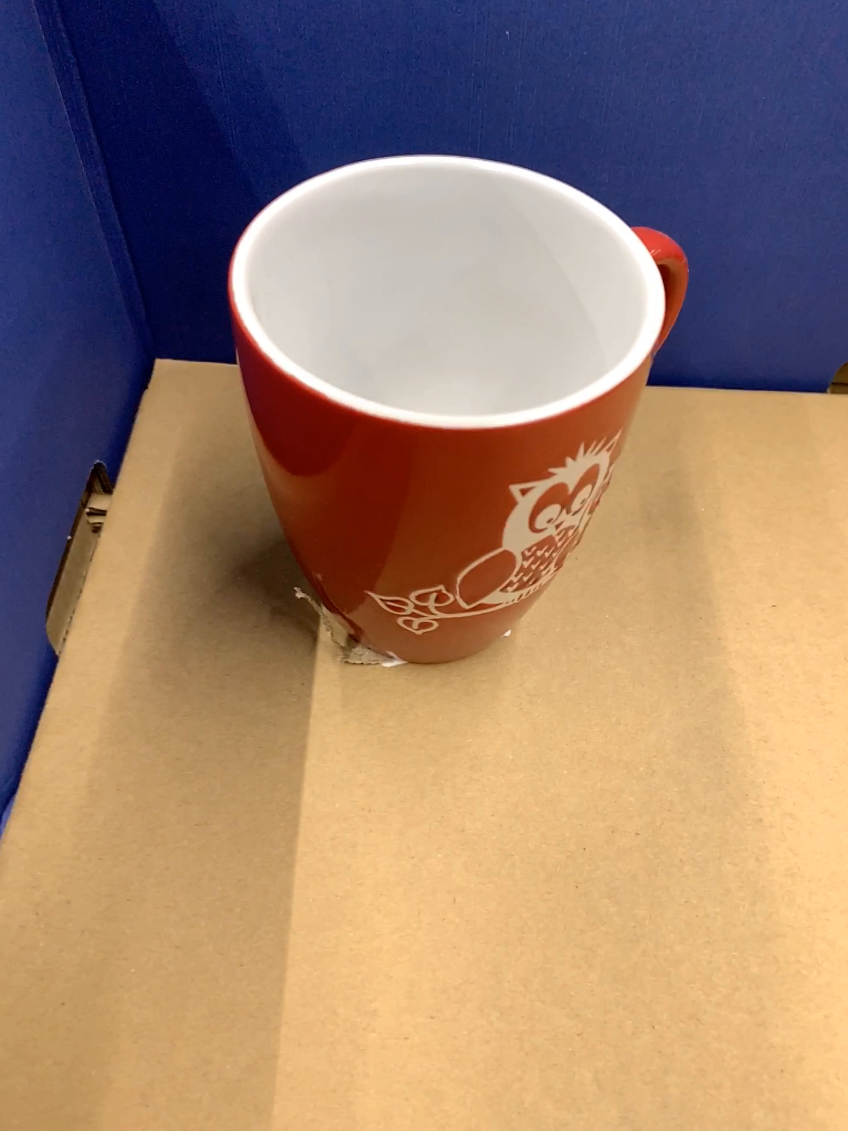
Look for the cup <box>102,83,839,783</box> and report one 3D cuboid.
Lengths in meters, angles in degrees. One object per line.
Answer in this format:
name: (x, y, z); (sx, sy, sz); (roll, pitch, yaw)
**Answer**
cup: (0.012, -0.038, 0.219); (0.100, 0.091, 0.120); (37, 59, 25)
